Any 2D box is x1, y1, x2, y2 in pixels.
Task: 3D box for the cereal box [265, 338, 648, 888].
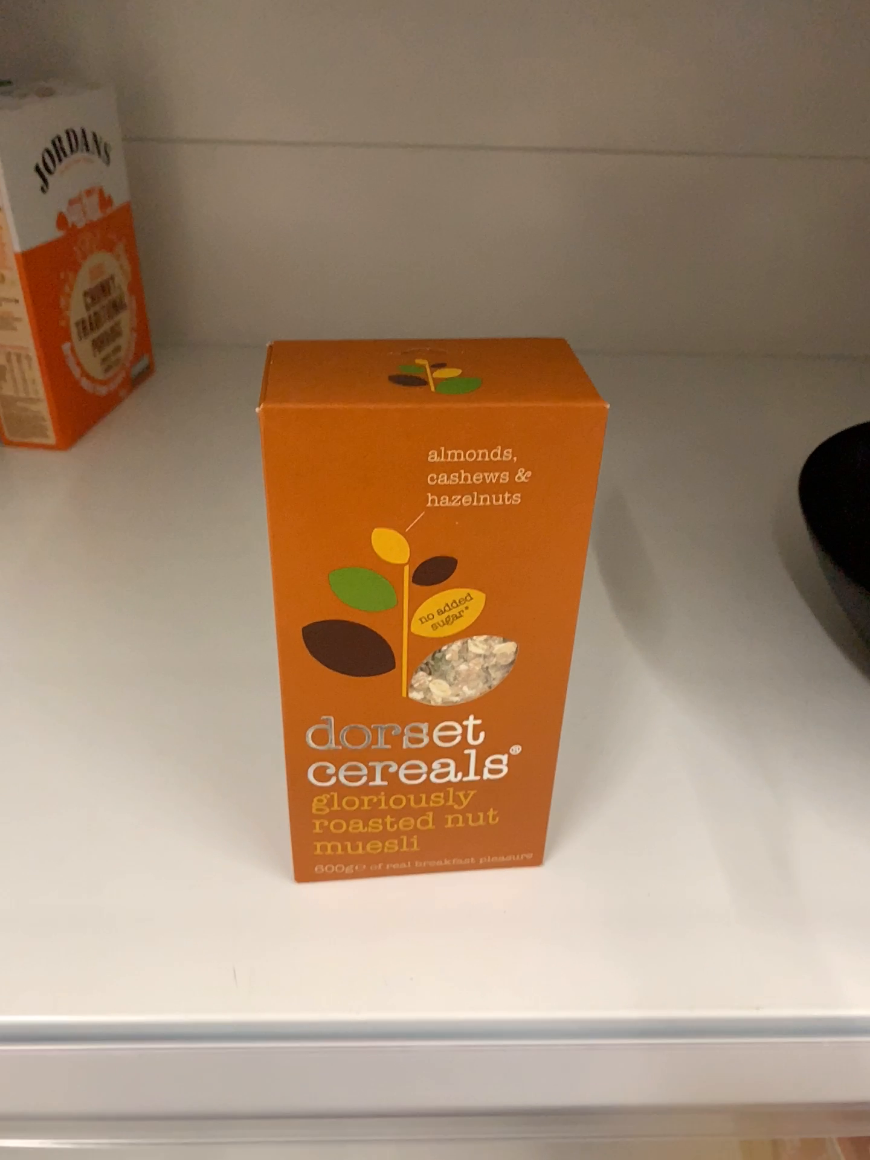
[{"bbox_3d":[0.001,0.024,0.368,0.120,0.228,0.061,-2,34,-6],"label":"cereal box"}]
